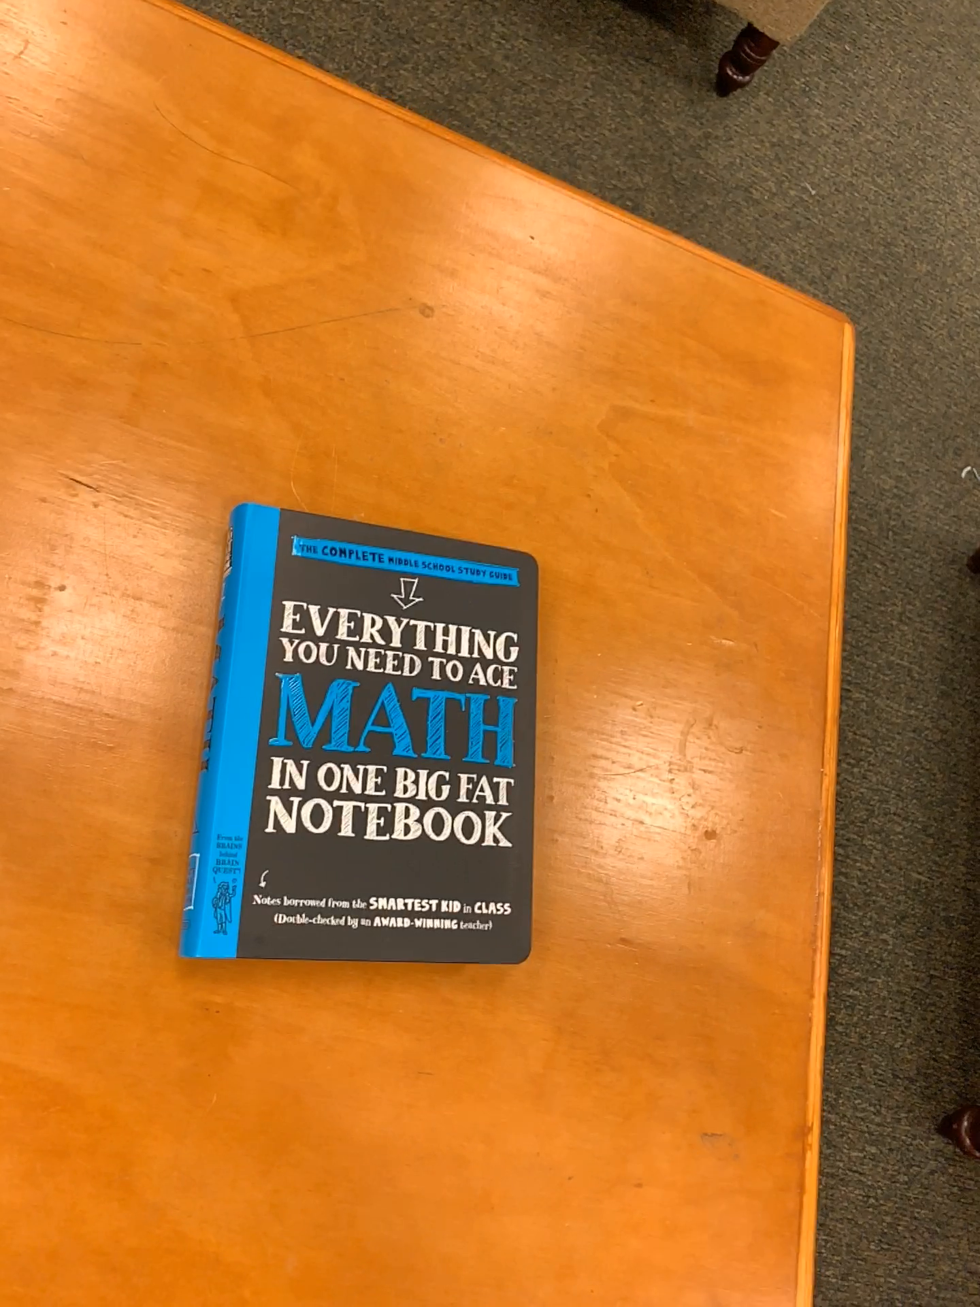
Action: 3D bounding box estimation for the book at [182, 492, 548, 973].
[{"bbox_3d":[-0.055,0.042,0.485,0.157,0.050,0.208,7,77,-23],"label":"book"}]
